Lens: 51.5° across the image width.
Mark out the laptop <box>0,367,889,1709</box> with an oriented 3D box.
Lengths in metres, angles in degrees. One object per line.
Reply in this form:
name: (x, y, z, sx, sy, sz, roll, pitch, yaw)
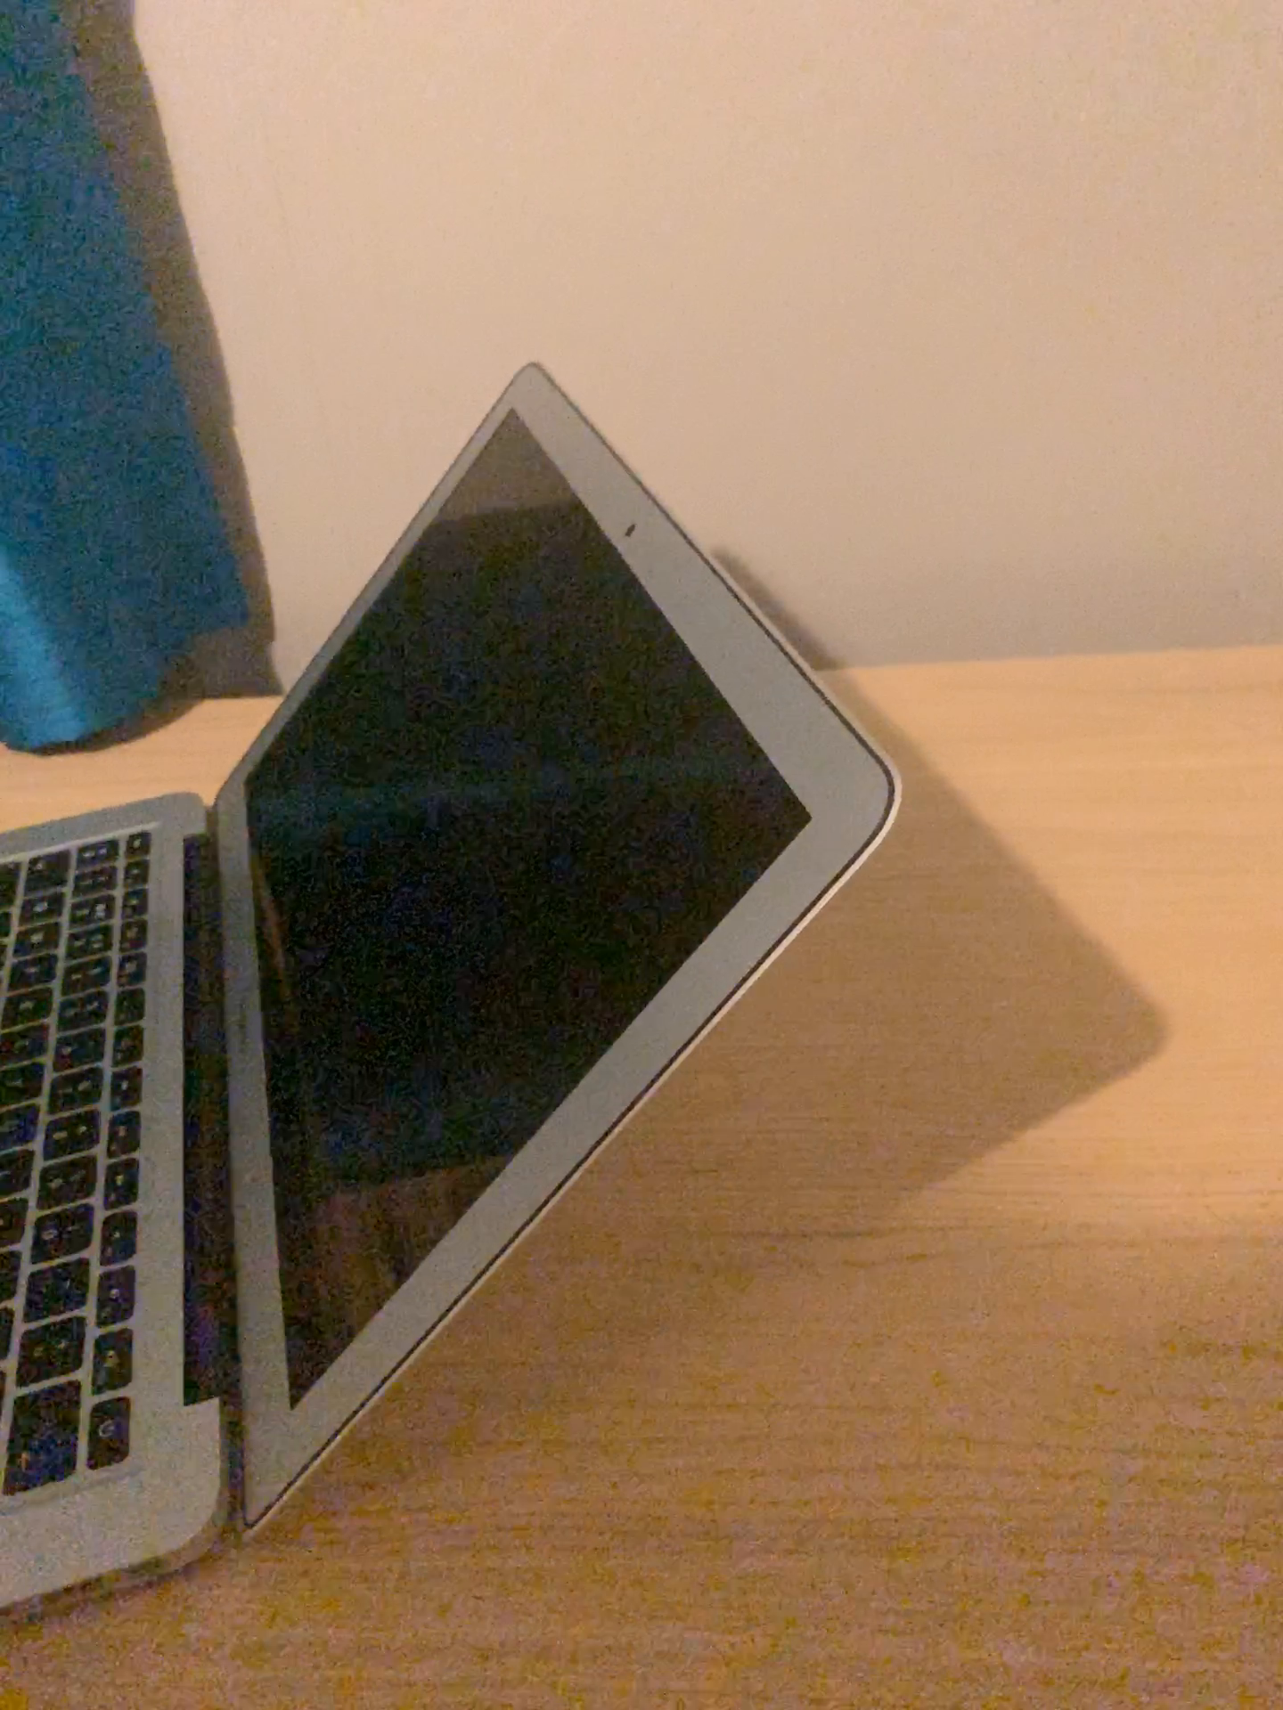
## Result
laptop: (-0.169, 0.009, 0.356, 0.368, 0.144, 0.304, -13, 36, -11)
